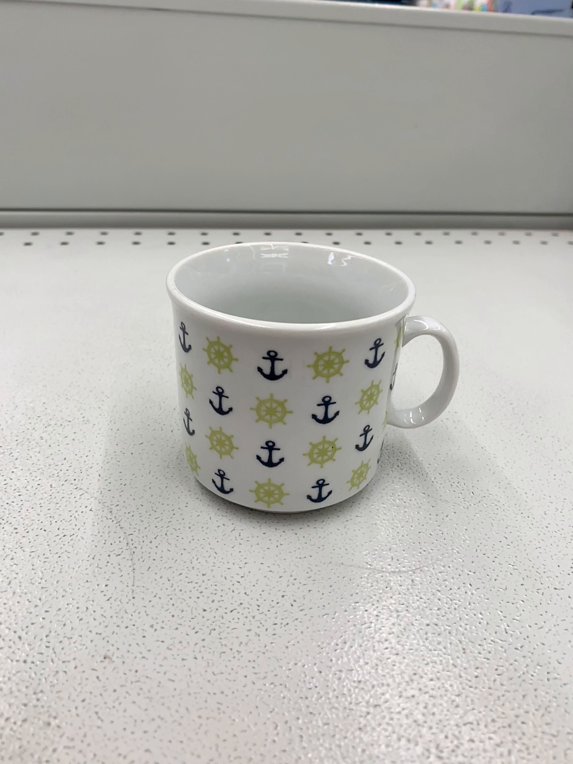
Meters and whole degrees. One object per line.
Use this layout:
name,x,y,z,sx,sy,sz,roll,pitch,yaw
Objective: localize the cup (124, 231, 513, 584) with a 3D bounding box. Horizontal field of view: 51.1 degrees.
cup,0.004,-0.001,0.204,0.096,0.076,0.078,-10,30,-22
